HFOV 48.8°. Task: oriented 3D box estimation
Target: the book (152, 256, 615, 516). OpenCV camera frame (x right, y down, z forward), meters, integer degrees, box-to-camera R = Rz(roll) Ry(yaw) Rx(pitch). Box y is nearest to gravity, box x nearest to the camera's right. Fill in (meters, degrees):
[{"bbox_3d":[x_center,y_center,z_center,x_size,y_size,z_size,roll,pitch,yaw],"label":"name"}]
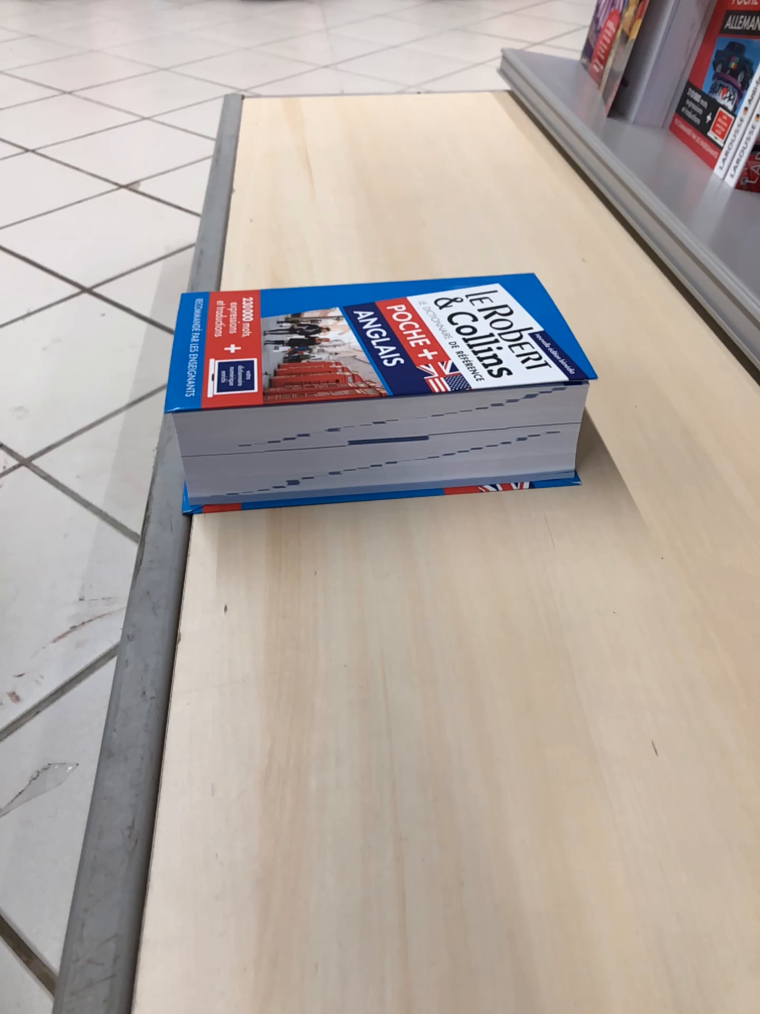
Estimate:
[{"bbox_3d":[-0.003,-0.063,0.396,0.183,0.051,0.129,-5,39,-4],"label":"book"}]
